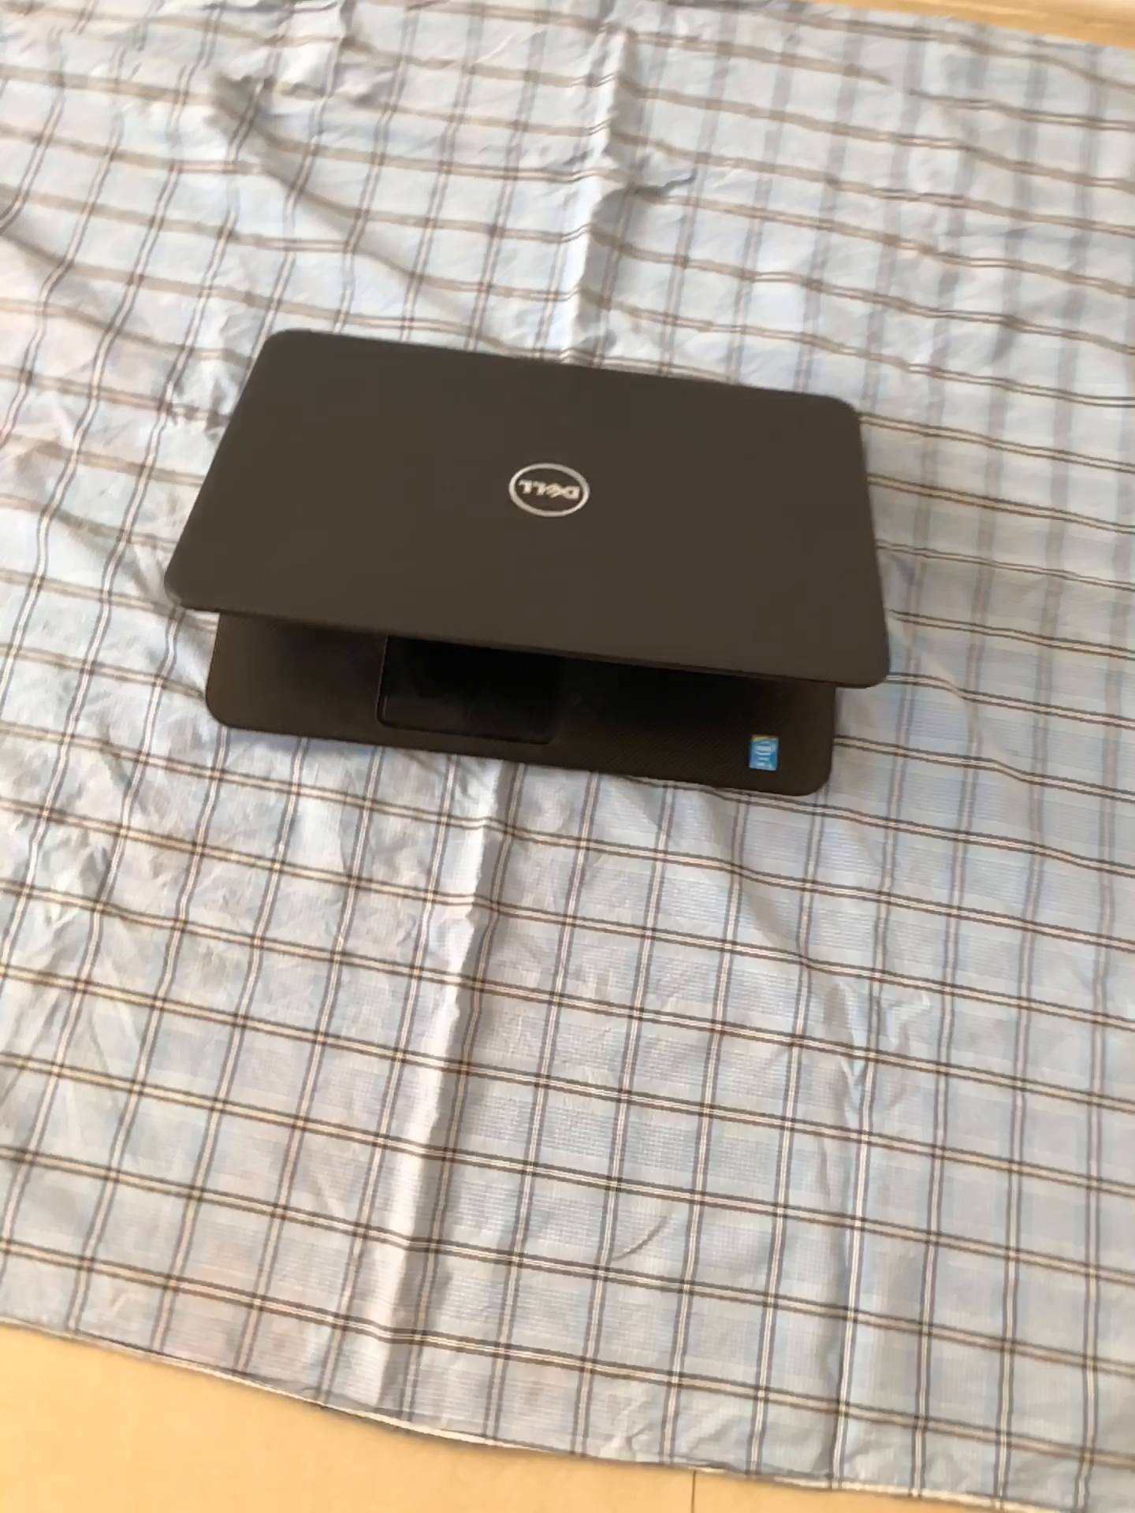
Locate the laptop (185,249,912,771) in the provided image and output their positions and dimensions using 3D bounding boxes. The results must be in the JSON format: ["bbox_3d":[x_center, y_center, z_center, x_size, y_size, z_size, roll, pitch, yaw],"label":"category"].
[{"bbox_3d":[-0.003,-0.131,0.694,0.350,0.099,0.223,7,75,-2],"label":"laptop"}]
